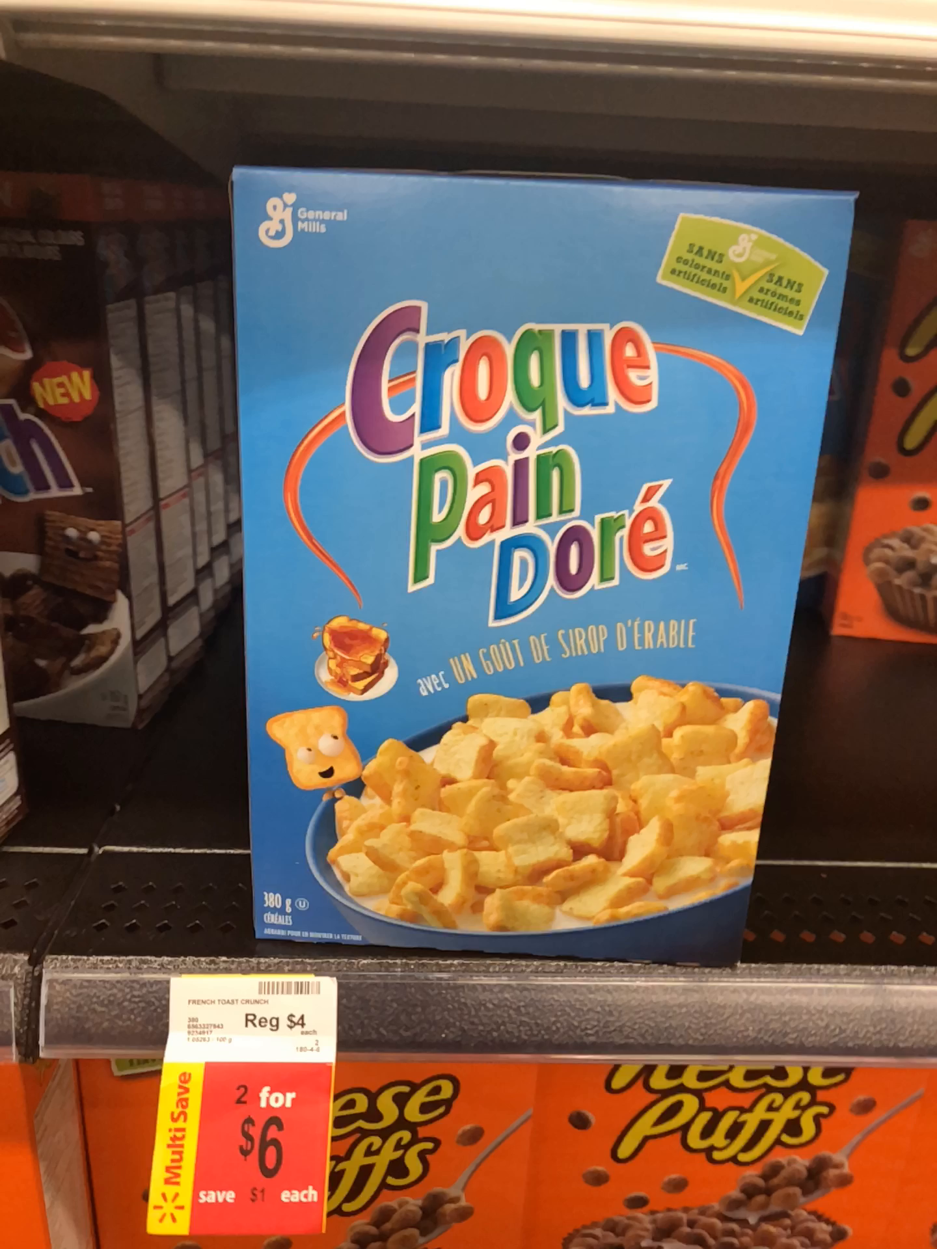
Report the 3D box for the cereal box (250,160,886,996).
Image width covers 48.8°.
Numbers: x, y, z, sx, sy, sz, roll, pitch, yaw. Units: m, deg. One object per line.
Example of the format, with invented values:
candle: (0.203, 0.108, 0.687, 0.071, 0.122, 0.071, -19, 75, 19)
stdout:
cereal box: (0.024, -0.009, 0.399, 0.200, 0.299, 0.060, 3, 18, 2)
